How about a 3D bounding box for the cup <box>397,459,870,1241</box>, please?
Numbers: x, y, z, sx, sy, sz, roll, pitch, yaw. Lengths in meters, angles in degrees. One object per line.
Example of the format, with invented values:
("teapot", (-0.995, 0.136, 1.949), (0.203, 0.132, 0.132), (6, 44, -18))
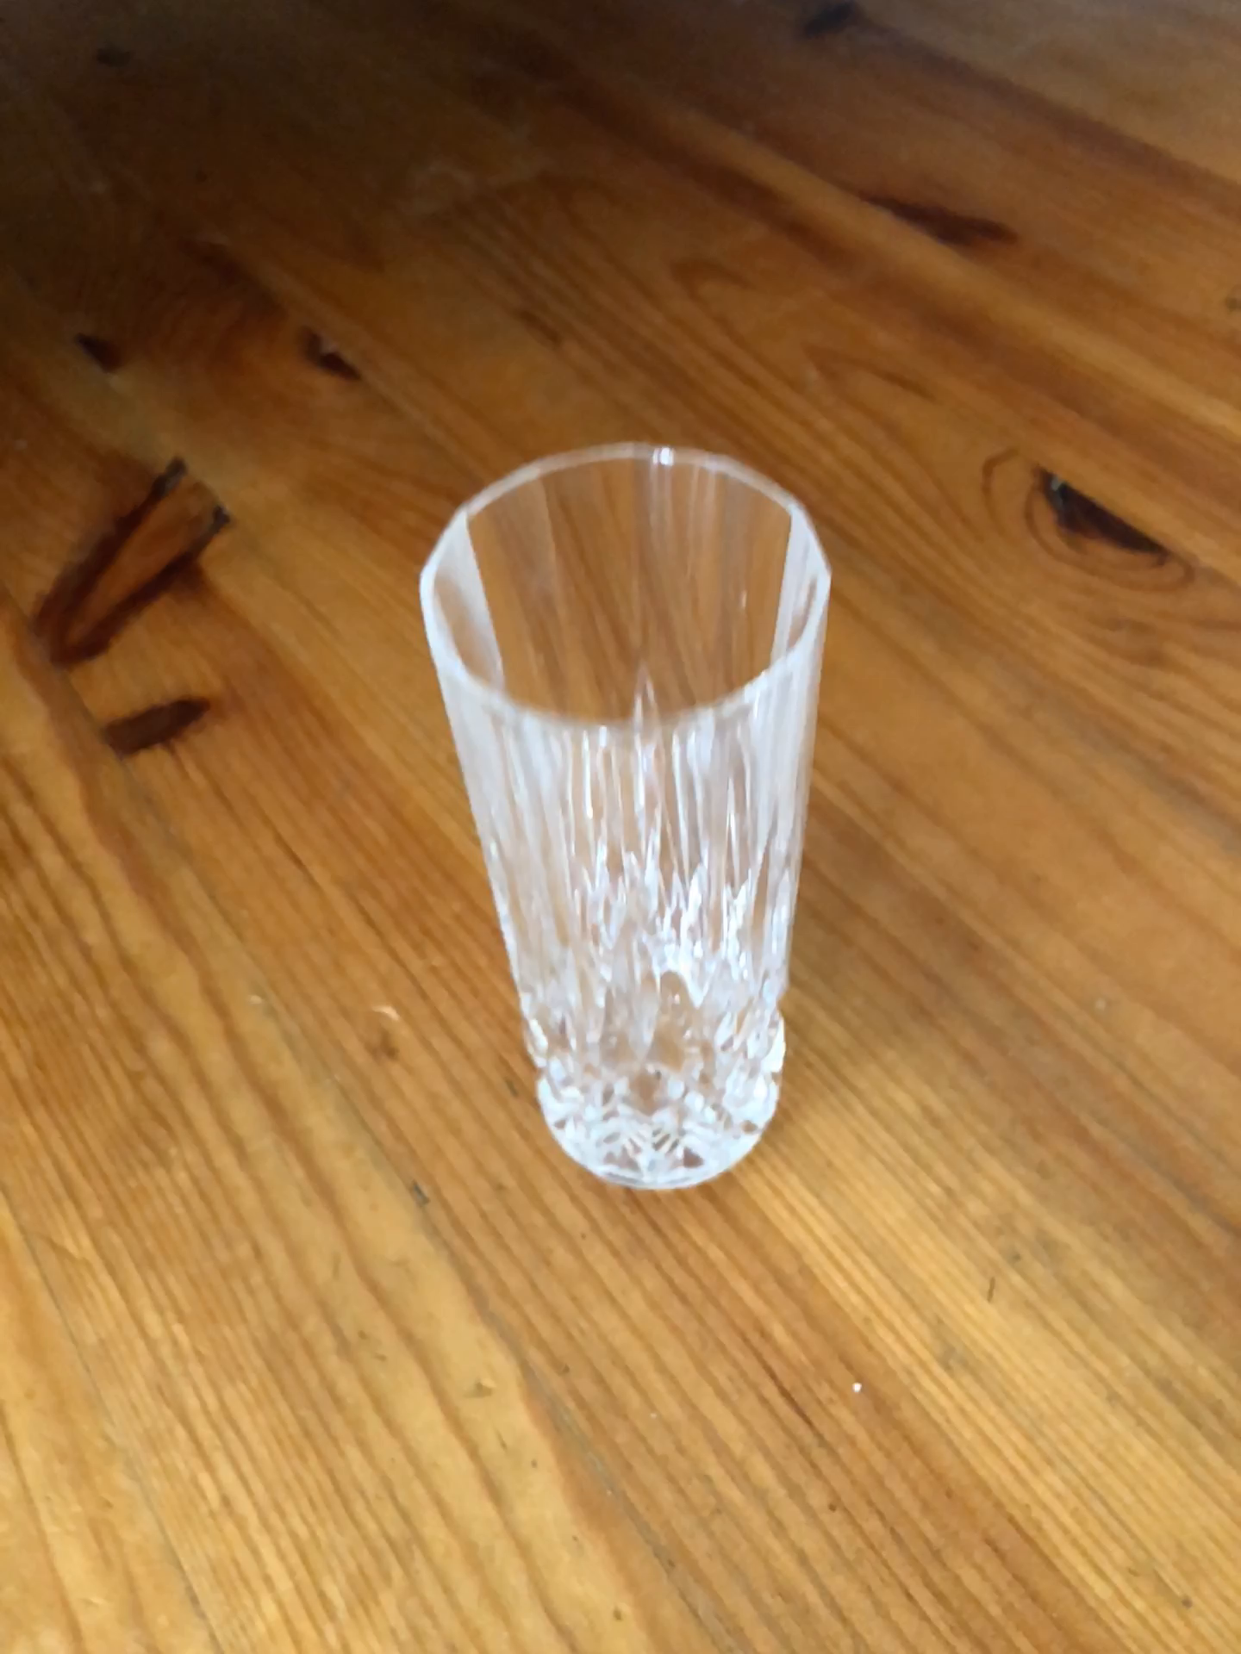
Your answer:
("cup", (0.004, 0.015, 0.251), (0.059, 0.144, 0.064), (-1, 52, 2))
